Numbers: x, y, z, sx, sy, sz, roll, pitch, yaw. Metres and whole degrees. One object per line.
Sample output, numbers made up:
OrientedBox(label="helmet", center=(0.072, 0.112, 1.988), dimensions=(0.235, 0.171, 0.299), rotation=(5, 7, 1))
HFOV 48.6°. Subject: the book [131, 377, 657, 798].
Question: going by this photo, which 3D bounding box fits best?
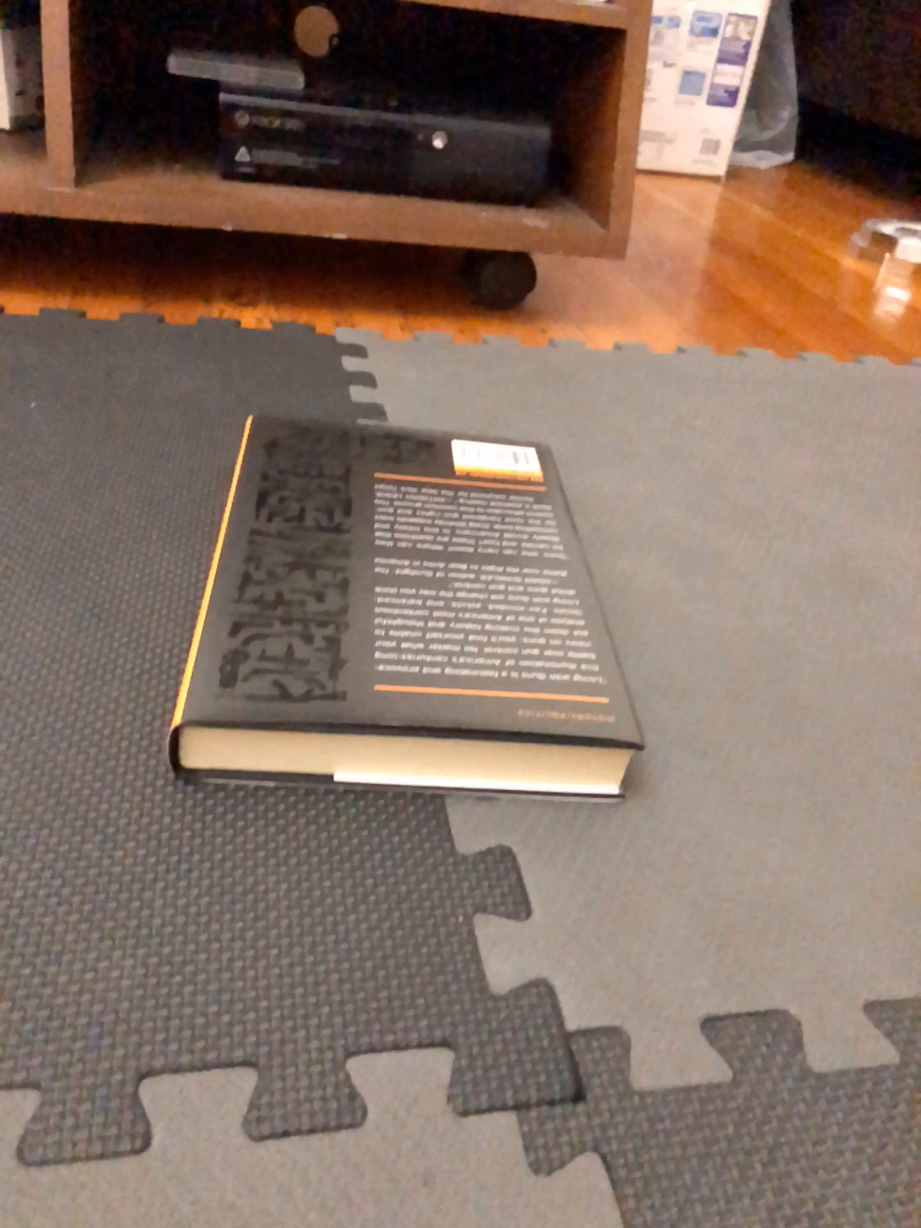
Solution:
OrientedBox(label="book", center=(-0.029, -0.030, 0.448), dimensions=(0.170, 0.040, 0.262), rotation=(4, 33, -7))
